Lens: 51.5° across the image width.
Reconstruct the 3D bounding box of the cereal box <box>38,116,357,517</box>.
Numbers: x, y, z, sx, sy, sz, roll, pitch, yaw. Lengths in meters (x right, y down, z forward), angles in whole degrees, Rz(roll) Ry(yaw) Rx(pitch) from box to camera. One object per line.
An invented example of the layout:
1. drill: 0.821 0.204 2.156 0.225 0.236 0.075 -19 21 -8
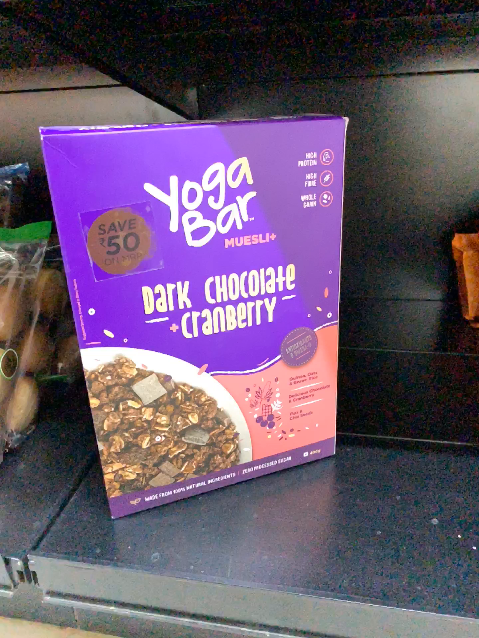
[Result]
1. cereal box: -0.018 -0.004 0.318 0.170 0.228 0.050 -9 22 -18
